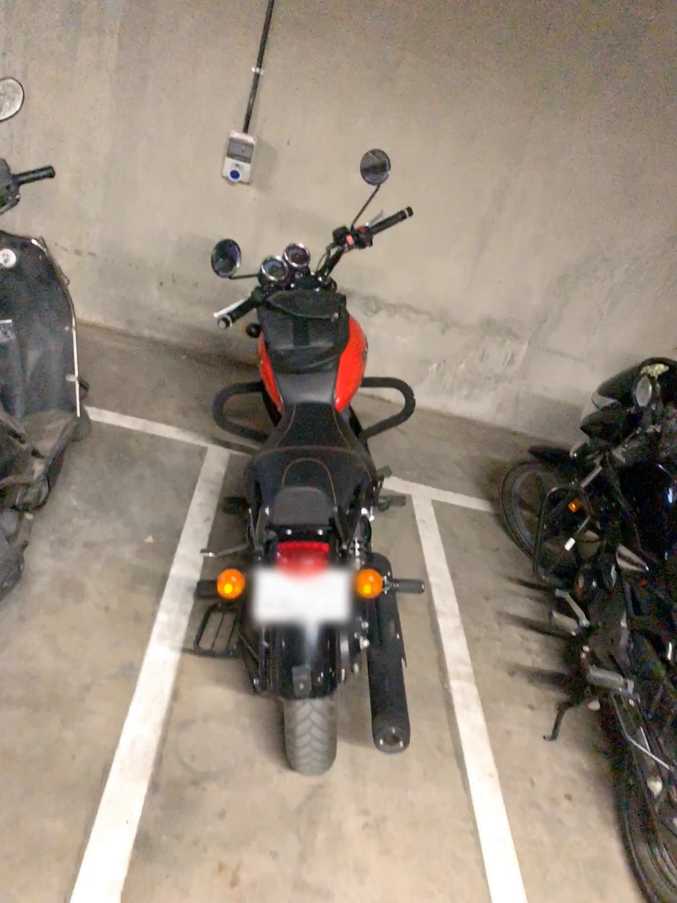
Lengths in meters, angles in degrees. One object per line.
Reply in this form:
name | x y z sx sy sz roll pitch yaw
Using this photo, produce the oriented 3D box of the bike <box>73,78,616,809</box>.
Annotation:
bike | -0.225 -0.195 2.199 0.829 1.302 1.842 9 32 -18
